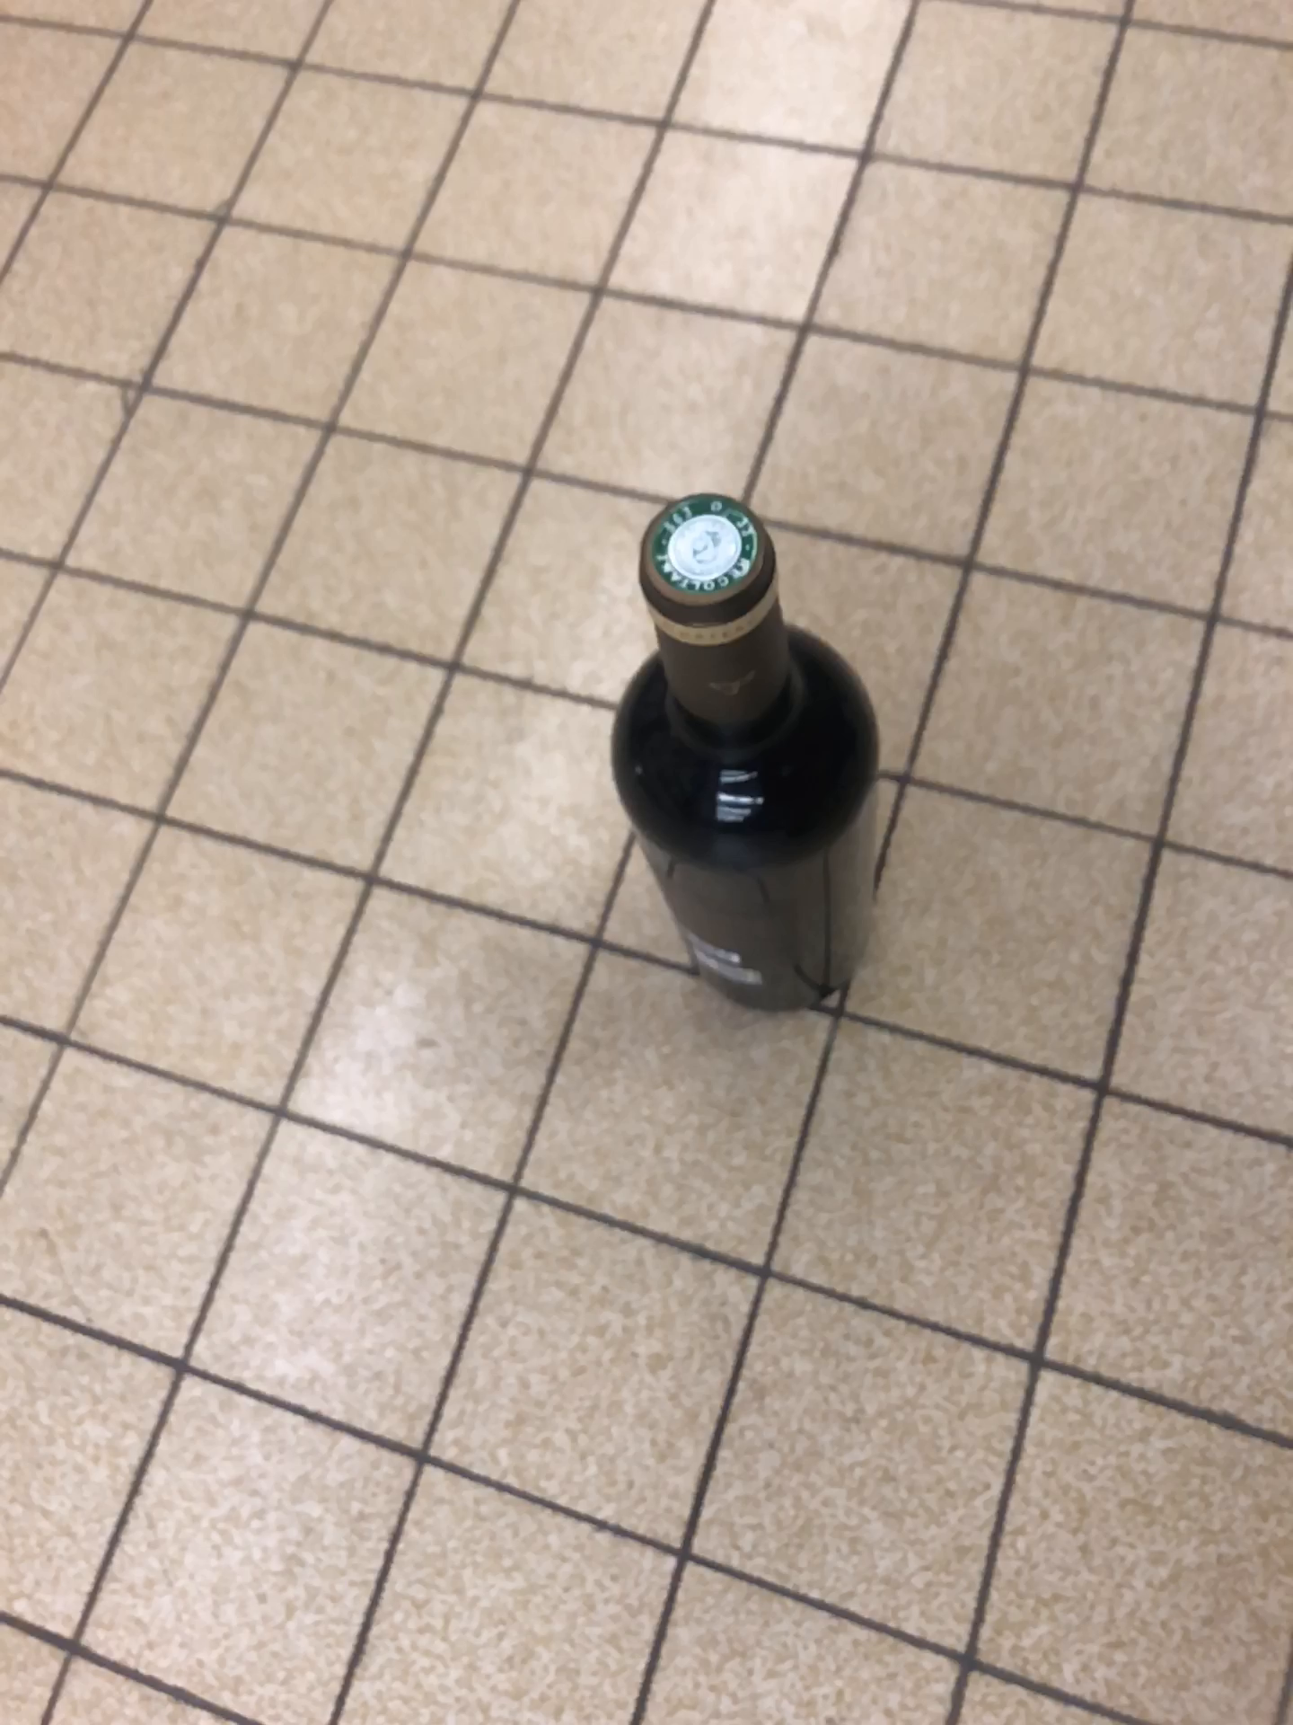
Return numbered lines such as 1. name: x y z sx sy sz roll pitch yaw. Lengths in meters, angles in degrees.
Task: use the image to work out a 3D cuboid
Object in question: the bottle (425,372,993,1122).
1. bottle: 0.030 -0.004 0.425 0.080 0.290 0.090 27 77 15
